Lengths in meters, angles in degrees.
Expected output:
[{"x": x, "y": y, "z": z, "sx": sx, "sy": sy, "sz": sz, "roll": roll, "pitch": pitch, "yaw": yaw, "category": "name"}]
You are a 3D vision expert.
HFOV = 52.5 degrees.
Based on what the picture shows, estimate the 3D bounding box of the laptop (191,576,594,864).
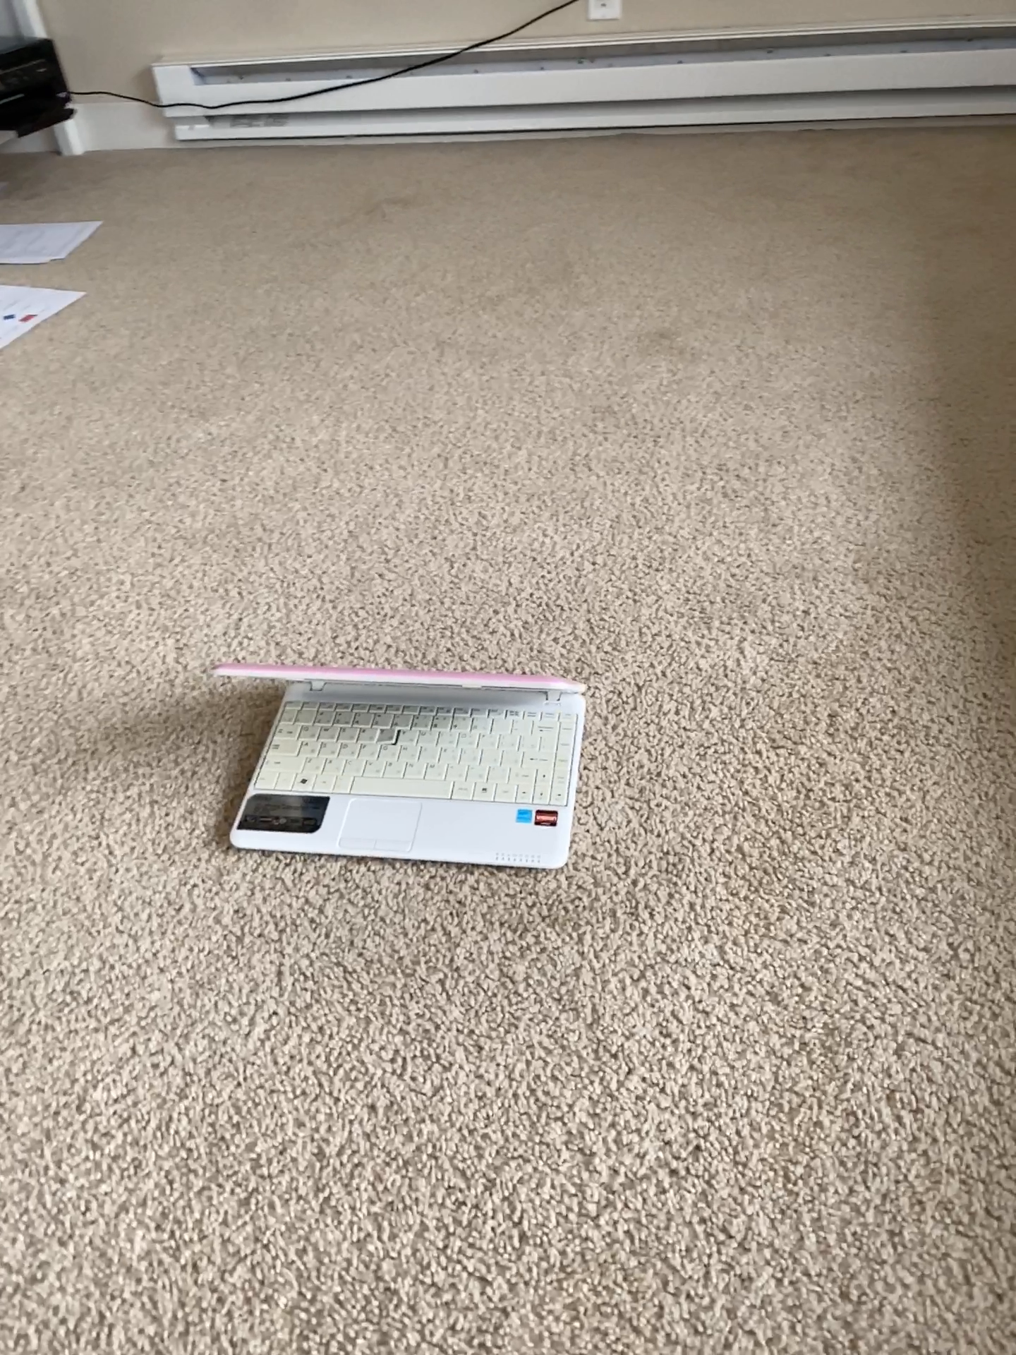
[{"x": -0.084, "y": 0.029, "z": 0.886, "sx": 0.297, "sy": 0.122, "sz": 0.198, "roll": 2, "pitch": 46, "yaw": 11, "category": "laptop"}]
